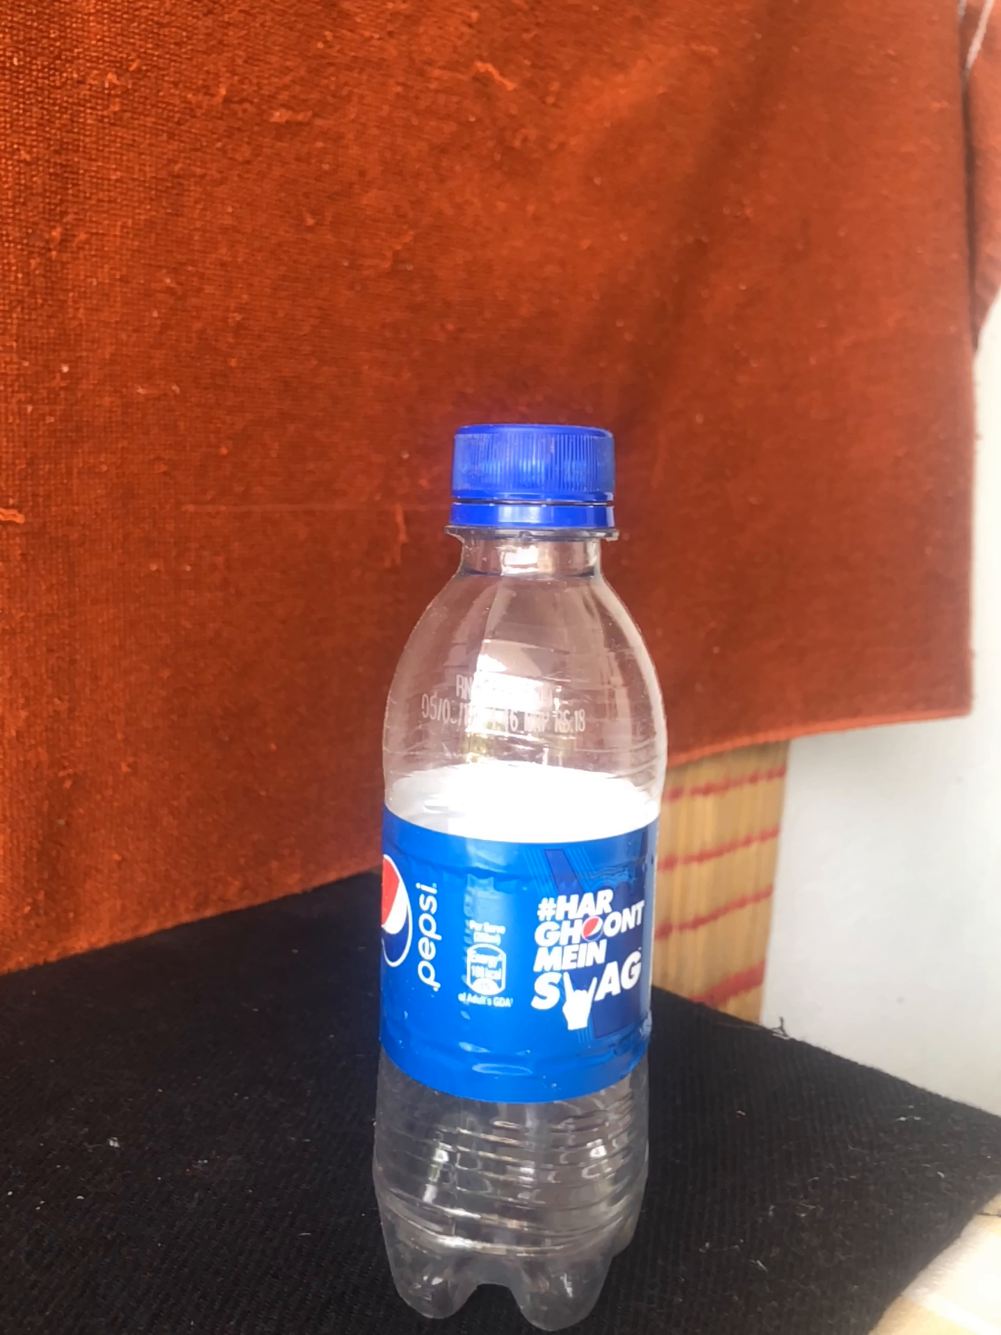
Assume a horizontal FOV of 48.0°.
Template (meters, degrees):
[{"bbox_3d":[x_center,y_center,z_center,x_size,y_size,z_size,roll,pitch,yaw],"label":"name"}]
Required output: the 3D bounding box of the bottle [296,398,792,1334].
[{"bbox_3d":[0.003,0.041,0.207,0.060,0.170,0.050,1,10,-23],"label":"bottle"}]
